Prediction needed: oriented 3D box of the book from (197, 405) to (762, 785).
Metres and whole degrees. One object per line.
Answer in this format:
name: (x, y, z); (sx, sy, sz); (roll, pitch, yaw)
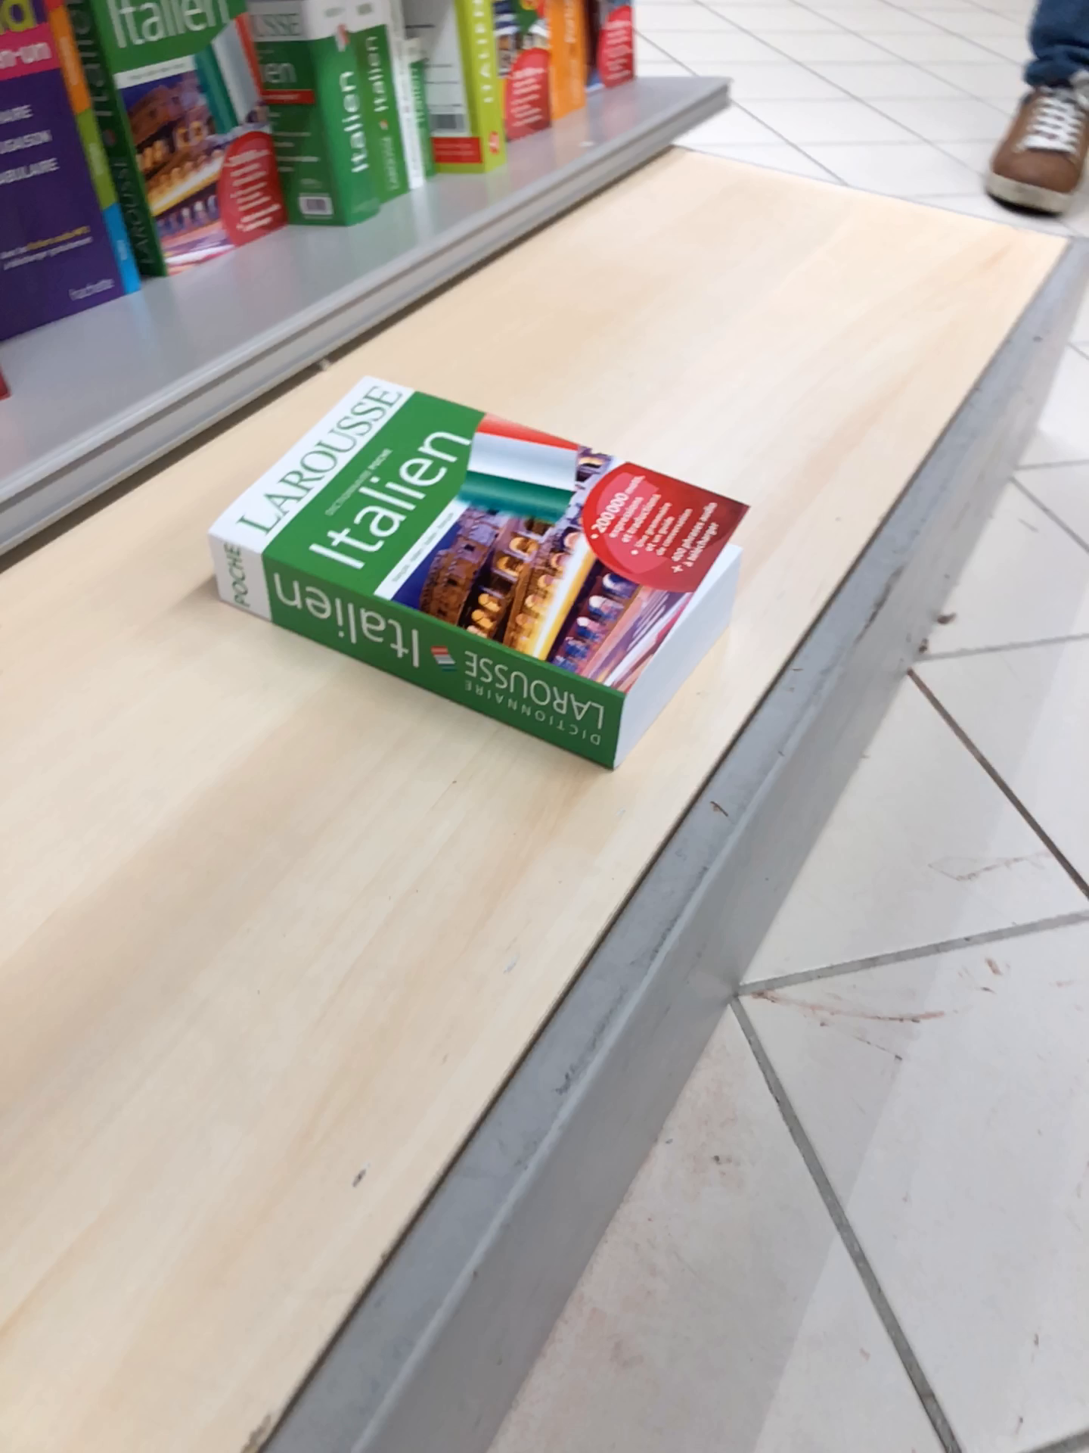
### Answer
book: (-0.024, -0.059, 0.466); (0.183, 0.045, 0.107); (22, 43, 18)
